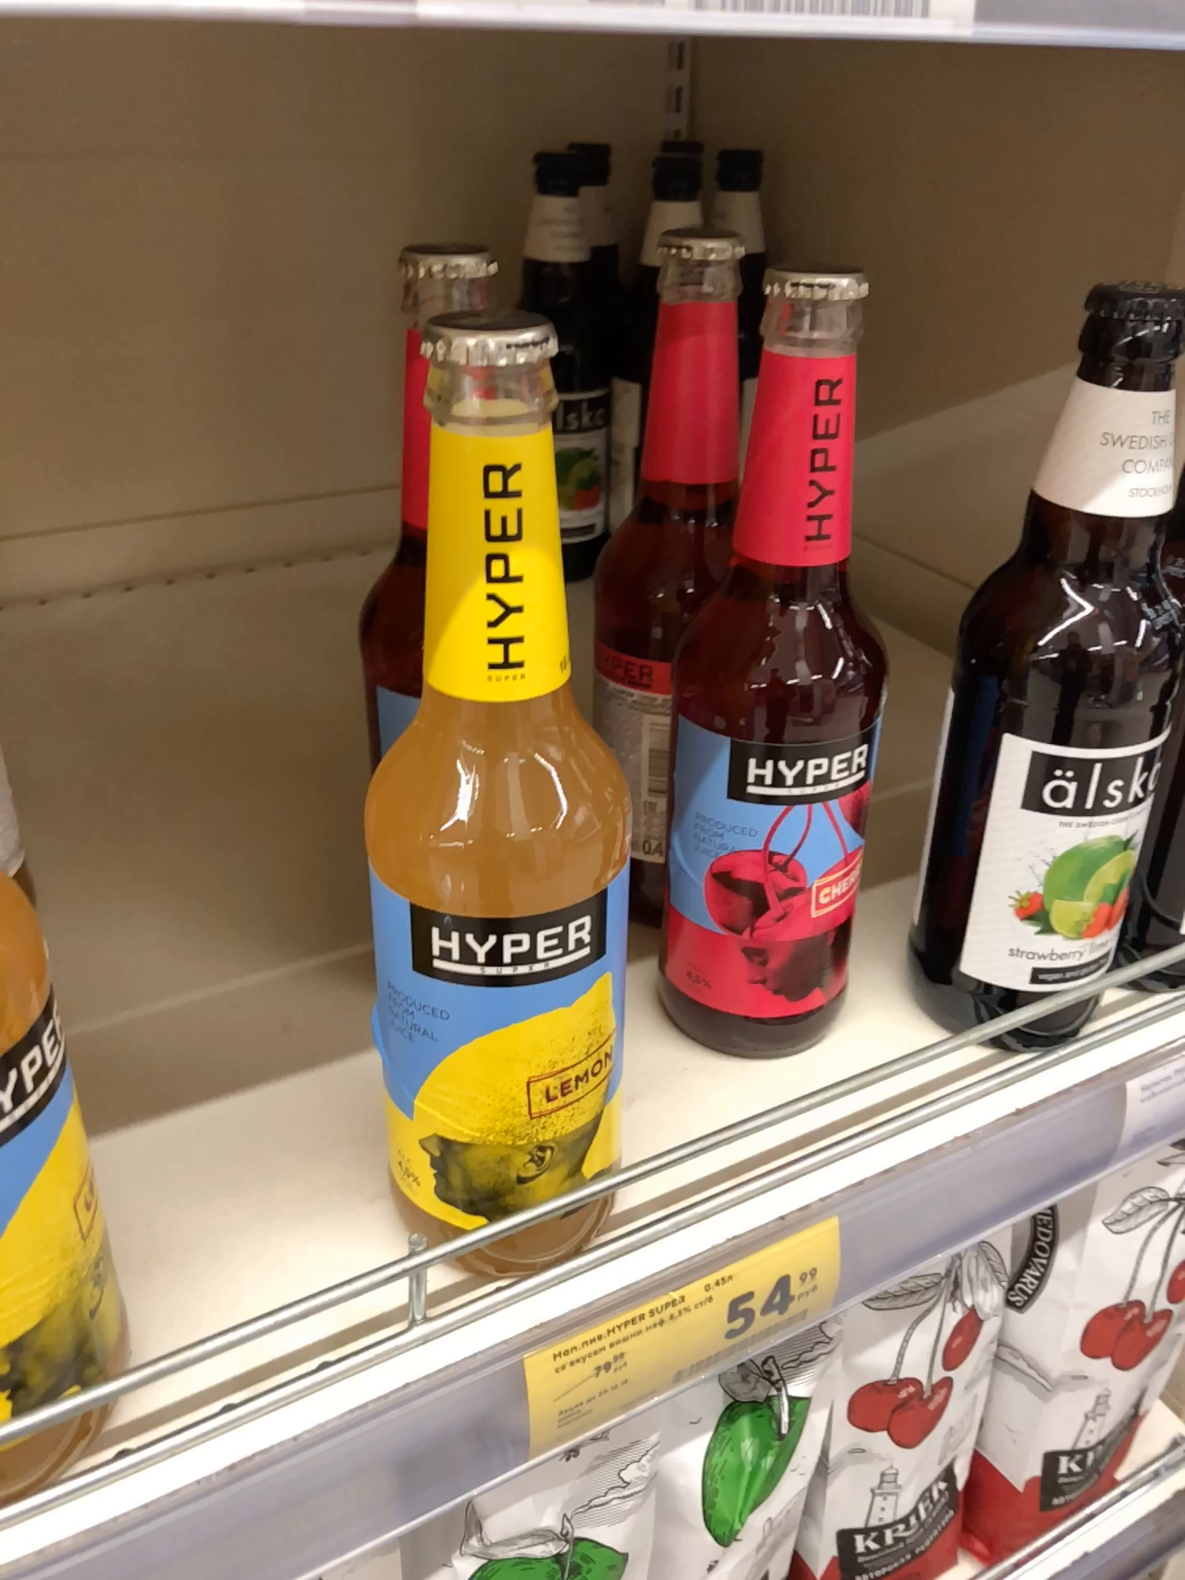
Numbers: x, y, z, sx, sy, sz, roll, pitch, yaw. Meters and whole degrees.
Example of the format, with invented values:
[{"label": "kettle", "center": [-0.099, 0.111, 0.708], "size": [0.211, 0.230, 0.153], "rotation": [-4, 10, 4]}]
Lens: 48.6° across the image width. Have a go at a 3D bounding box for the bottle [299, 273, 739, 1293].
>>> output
[{"label": "bottle", "center": [-0.021, 0.004, 0.328], "size": [0.080, 0.239, 0.080], "rotation": [1, 29, 0]}]
